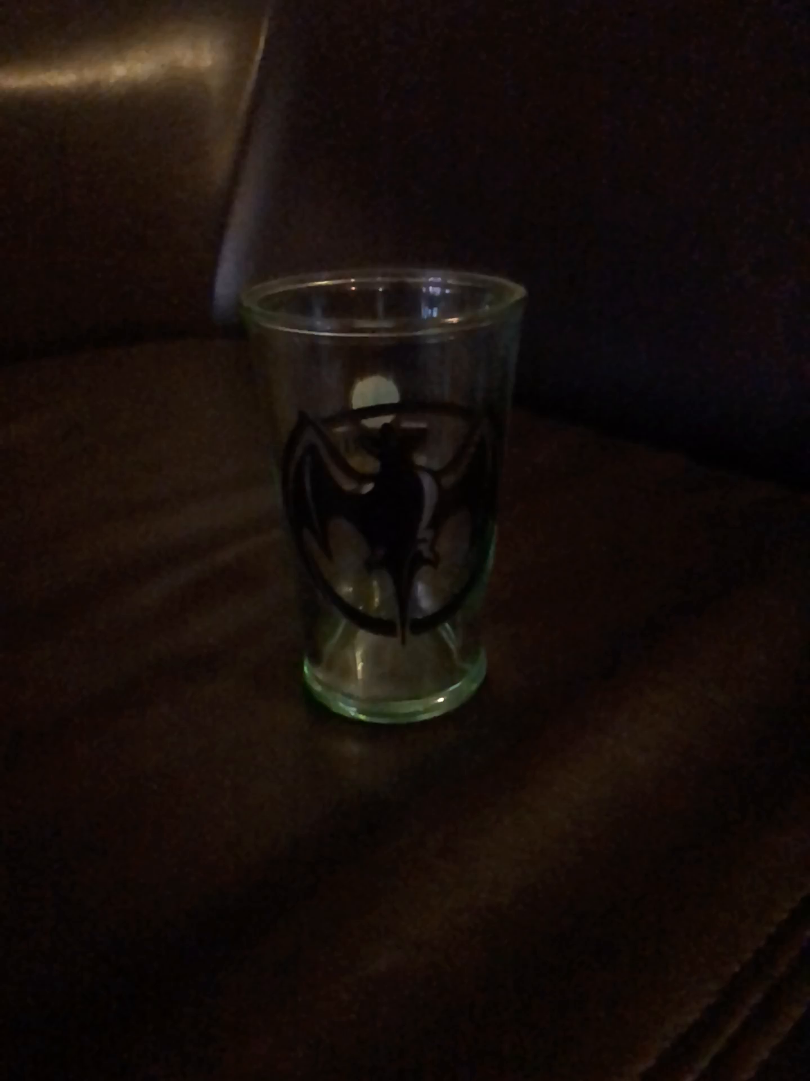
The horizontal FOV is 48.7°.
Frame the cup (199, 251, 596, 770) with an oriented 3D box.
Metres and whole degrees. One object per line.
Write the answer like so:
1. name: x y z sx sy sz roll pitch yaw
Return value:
1. cup: -0.002 -0.013 0.255 0.084 0.117 0.088 -1 26 1
